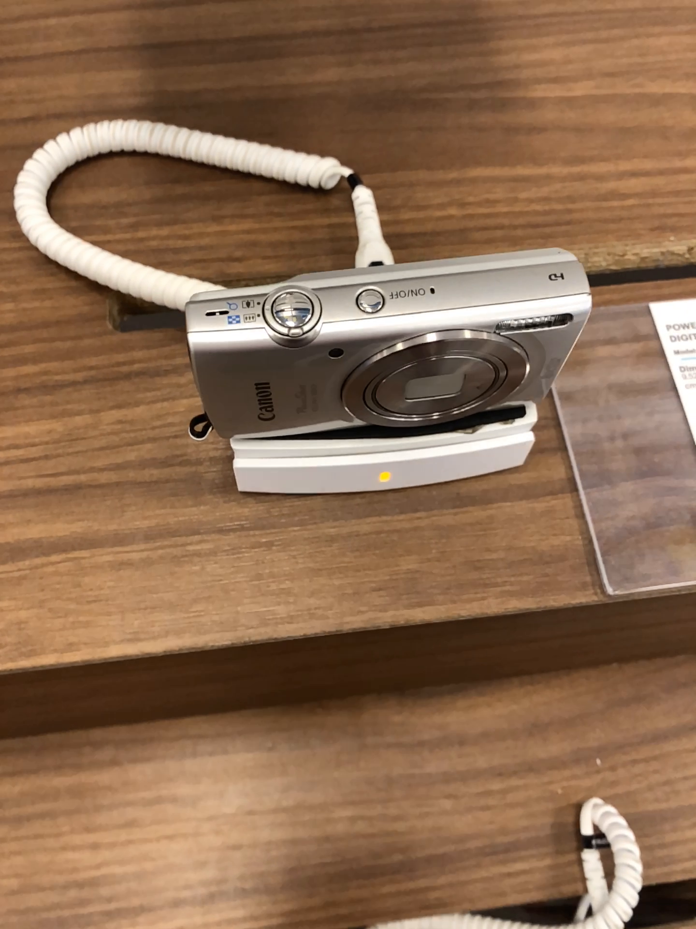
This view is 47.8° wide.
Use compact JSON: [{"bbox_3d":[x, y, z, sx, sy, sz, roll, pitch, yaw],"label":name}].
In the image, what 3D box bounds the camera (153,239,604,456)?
[{"bbox_3d":[0.006,-0.028,0.205,0.100,0.060,0.020,-7,71,-3],"label":"camera"}]
